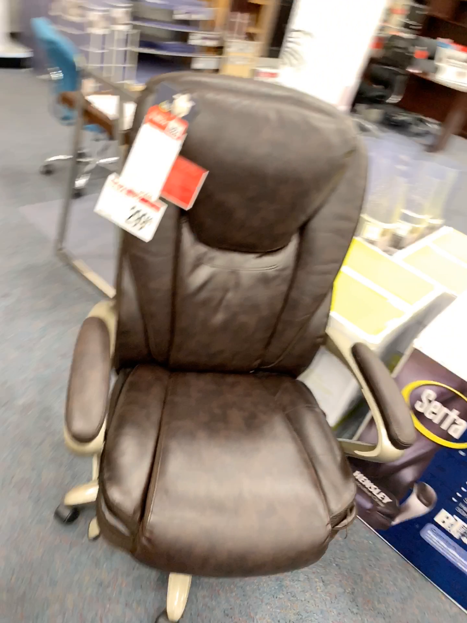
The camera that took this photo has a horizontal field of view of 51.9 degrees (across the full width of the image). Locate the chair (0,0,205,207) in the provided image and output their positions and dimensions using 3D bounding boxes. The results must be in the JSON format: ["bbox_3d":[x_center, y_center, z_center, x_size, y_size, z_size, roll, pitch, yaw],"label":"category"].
[{"bbox_3d":[-0.808,-1.226,2.793,0.827,0.856,0.792,-18,49,-39],"label":"chair"}]

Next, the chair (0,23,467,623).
[{"bbox_3d":[-0.025,0.110,1.138,0.782,1.105,0.848,8,38,-12],"label":"chair"}]
